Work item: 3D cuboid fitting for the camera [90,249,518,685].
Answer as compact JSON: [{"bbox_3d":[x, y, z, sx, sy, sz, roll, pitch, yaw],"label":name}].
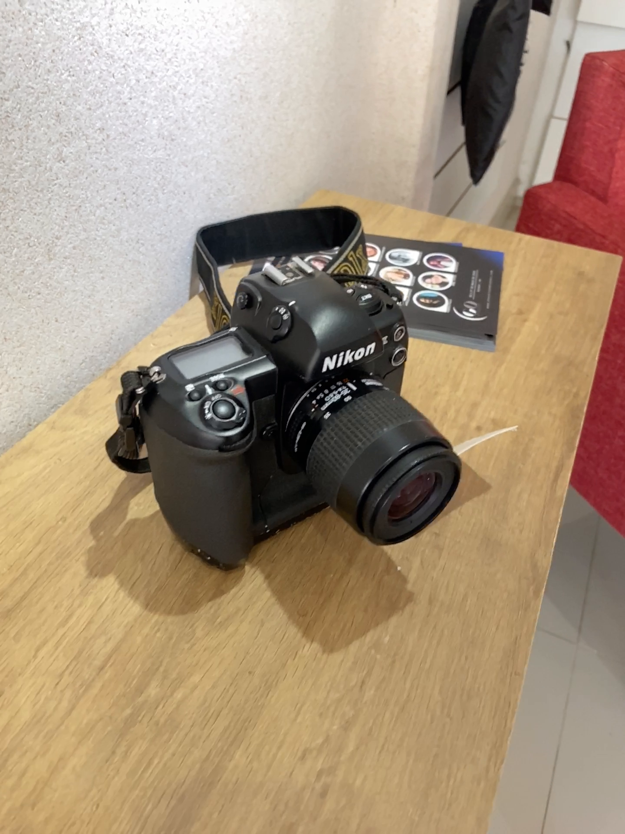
[{"bbox_3d":[-0.010,0.016,0.368,0.150,0.129,0.161,-26,49,-27],"label":"camera"}]
